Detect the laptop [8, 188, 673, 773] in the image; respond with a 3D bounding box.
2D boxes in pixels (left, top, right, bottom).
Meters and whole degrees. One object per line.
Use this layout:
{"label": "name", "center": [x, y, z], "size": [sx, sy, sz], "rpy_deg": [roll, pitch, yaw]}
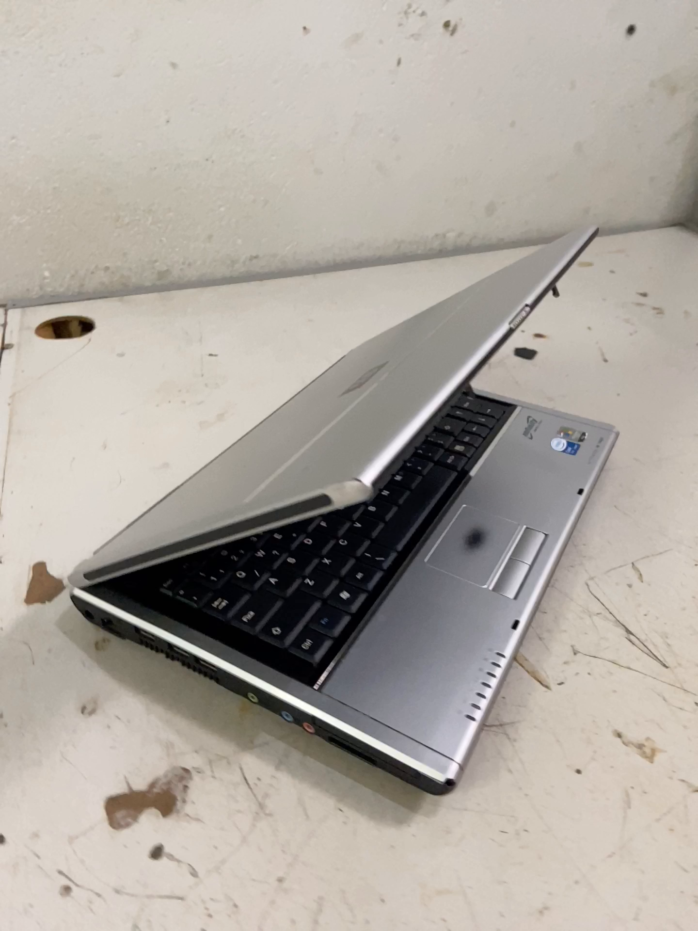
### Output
{"label": "laptop", "center": [0.026, -0.039, 0.428], "size": [0.226, 0.144, 0.321], "rpy_deg": [18, 39, 24]}
